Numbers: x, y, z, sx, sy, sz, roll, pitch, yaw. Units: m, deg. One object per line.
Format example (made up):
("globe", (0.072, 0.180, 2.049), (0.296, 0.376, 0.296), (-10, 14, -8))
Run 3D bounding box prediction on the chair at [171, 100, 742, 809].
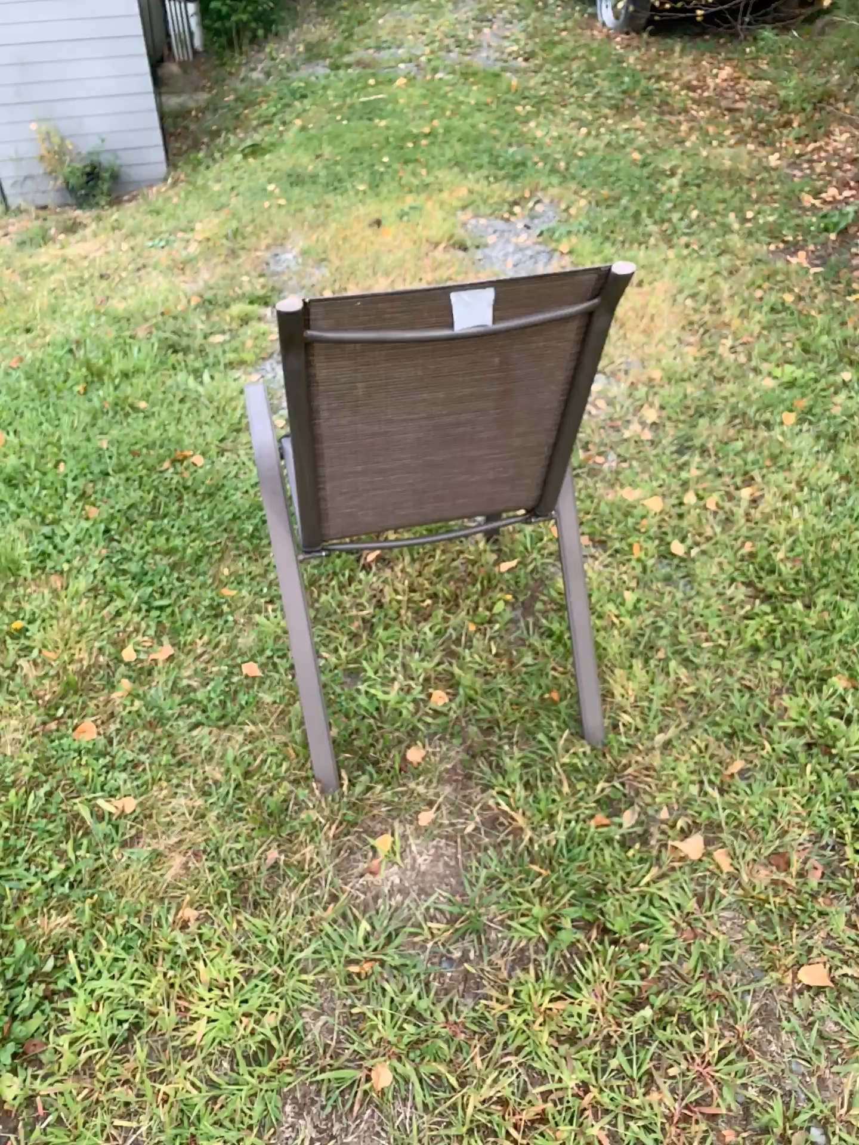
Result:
("chair", (-0.034, -0.212, 1.532), (0.620, 0.875, 0.744), (-9, 44, -11))
